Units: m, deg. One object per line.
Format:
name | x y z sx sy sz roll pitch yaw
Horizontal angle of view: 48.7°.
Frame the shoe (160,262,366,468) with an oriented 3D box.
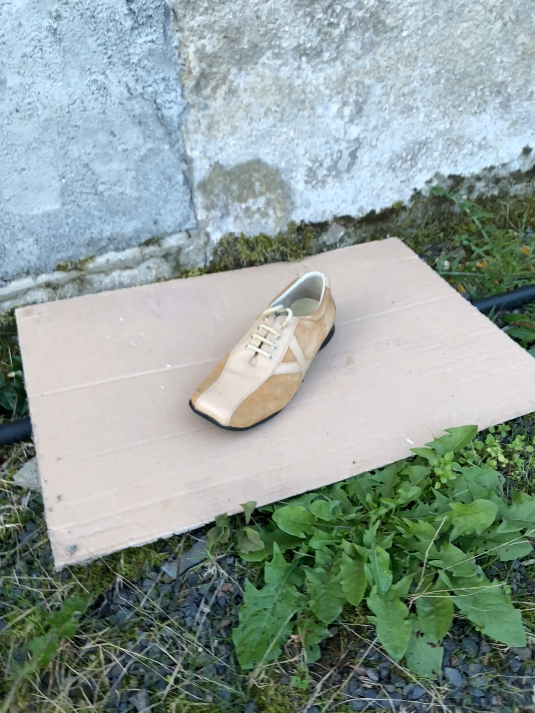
shoe | 0.008 -0.004 0.708 0.100 0.080 0.271 22 47 29
